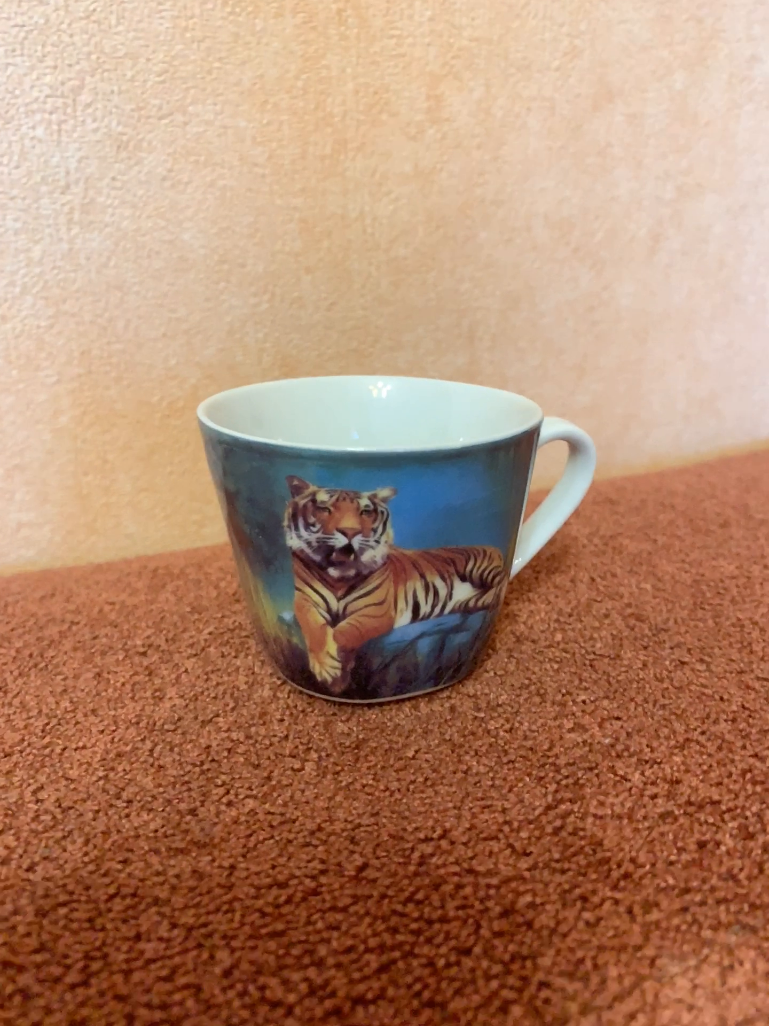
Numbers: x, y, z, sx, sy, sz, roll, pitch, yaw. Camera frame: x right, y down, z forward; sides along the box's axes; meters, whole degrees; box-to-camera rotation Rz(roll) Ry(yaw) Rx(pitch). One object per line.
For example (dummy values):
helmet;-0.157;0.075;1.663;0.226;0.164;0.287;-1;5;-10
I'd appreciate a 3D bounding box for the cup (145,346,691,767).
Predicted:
cup;0.001;-0.001;0.162;0.083;0.048;0.072;-9;21;-17
